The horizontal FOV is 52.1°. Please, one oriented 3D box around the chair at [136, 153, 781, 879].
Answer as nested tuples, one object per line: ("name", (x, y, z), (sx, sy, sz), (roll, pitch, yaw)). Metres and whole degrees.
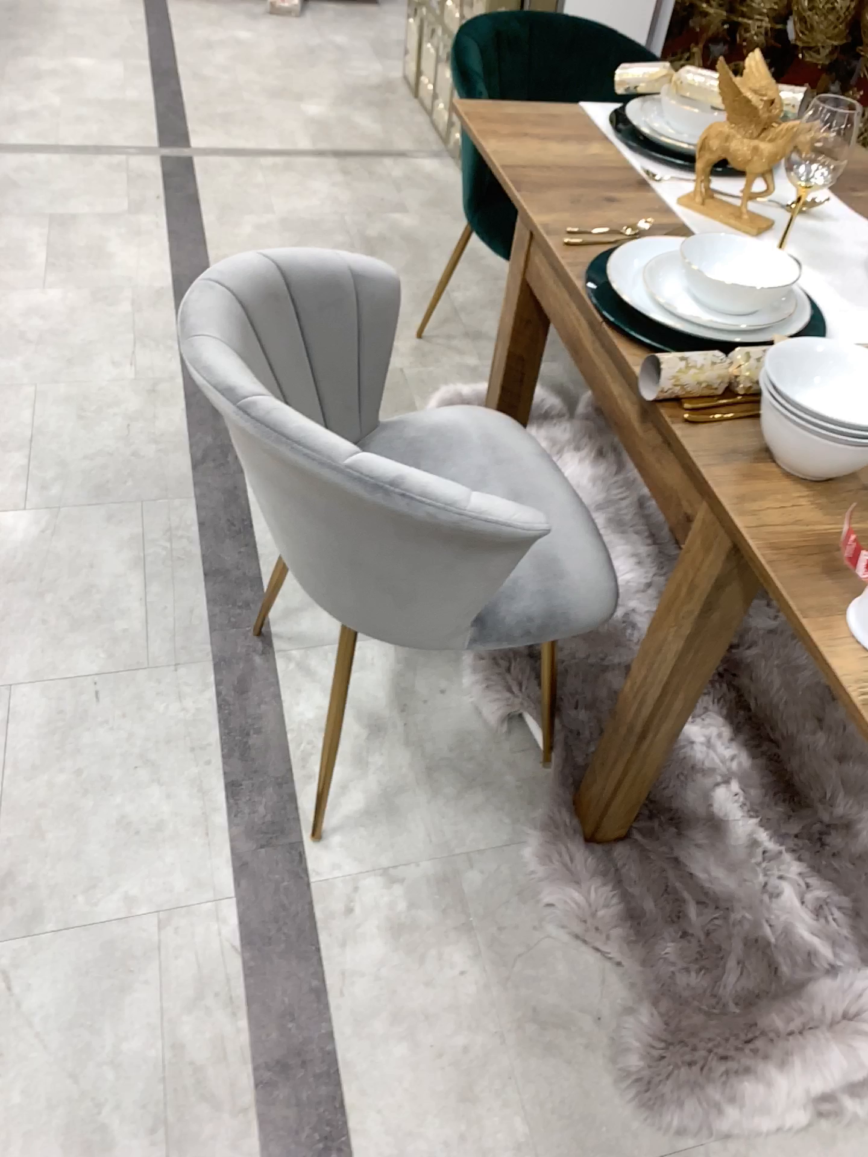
("chair", (-0.056, -0.100, 1.245), (0.550, 0.709, 0.636), (-9, 48, -17))
